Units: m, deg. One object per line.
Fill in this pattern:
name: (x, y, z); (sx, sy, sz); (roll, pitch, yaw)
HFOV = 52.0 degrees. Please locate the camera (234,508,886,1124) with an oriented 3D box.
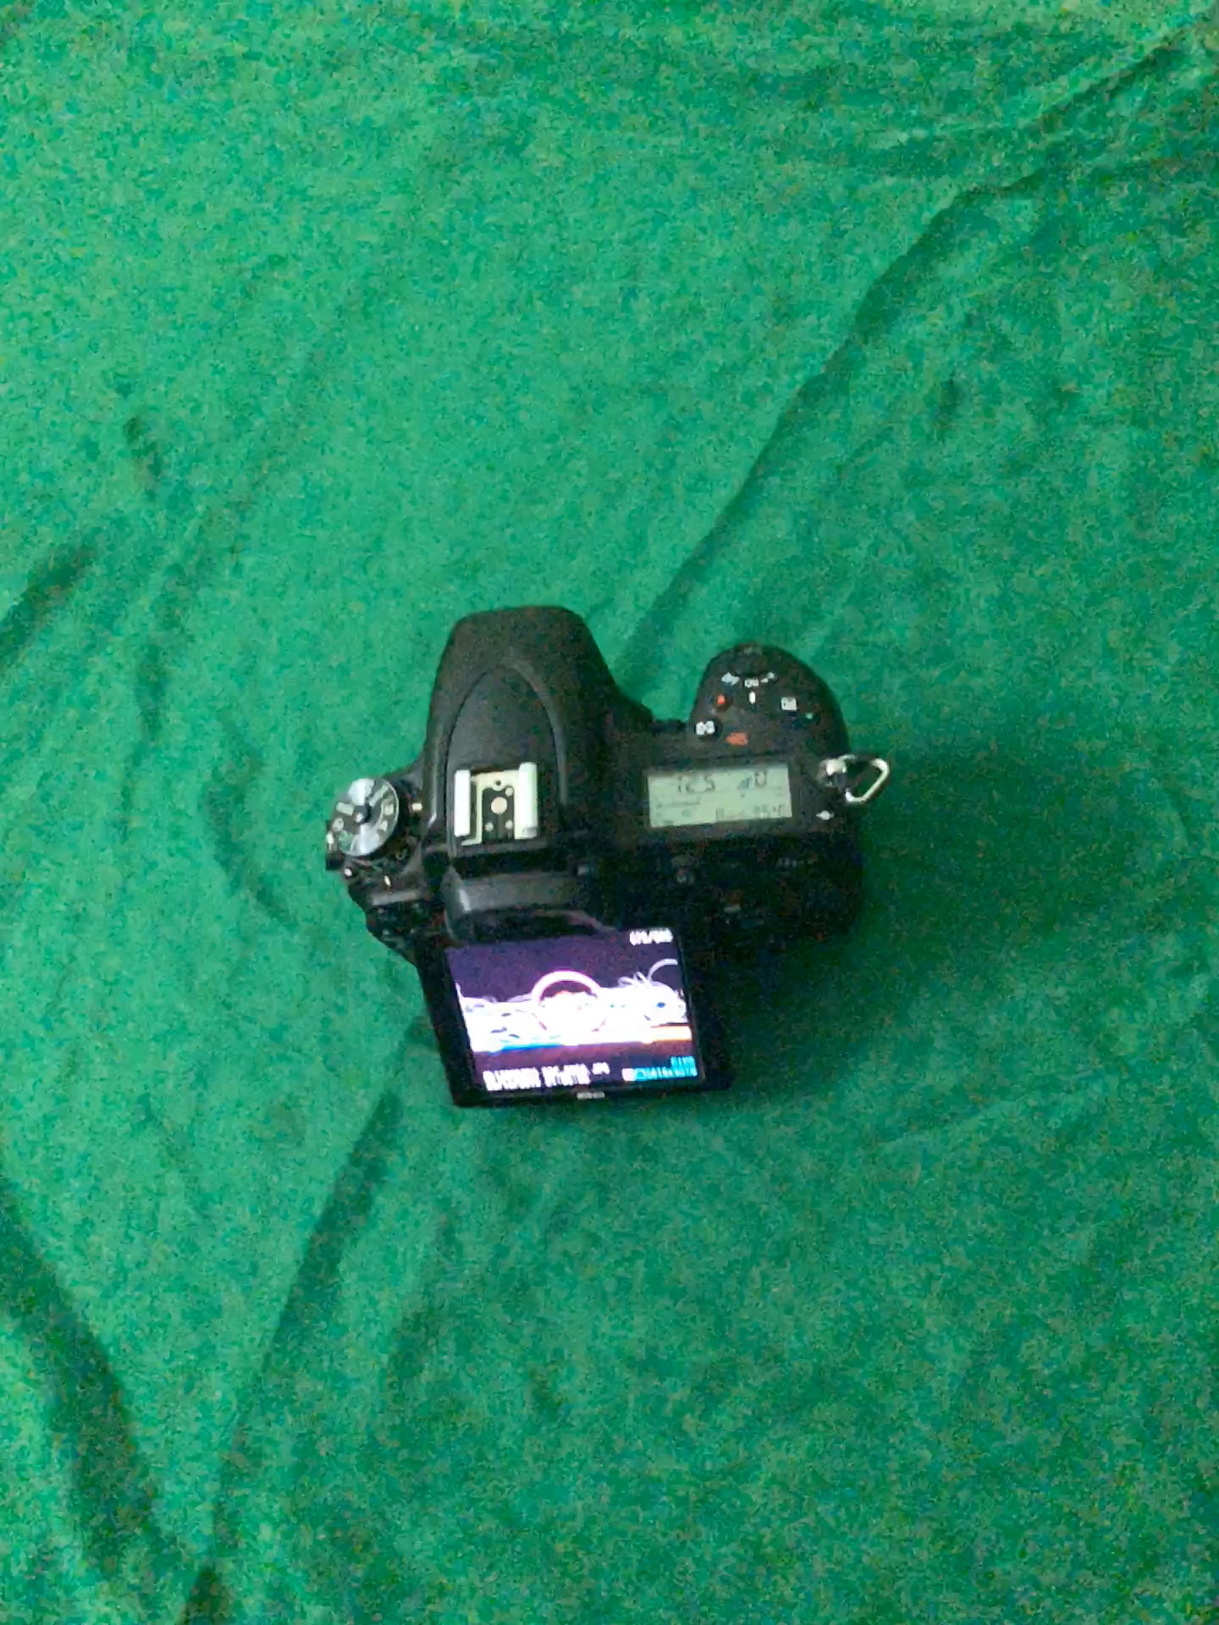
camera: (-0.004, 0.010, 0.336); (0.142, 0.100, 0.128); (-4, 67, 12)
